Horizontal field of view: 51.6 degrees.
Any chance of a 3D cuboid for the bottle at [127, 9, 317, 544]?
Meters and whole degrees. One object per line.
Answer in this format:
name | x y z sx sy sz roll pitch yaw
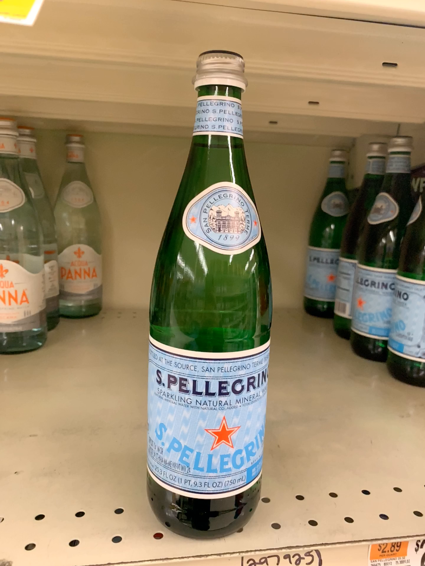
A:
bottle | -0.006 0.006 0.281 0.090 0.289 0.090 2 13 -1
